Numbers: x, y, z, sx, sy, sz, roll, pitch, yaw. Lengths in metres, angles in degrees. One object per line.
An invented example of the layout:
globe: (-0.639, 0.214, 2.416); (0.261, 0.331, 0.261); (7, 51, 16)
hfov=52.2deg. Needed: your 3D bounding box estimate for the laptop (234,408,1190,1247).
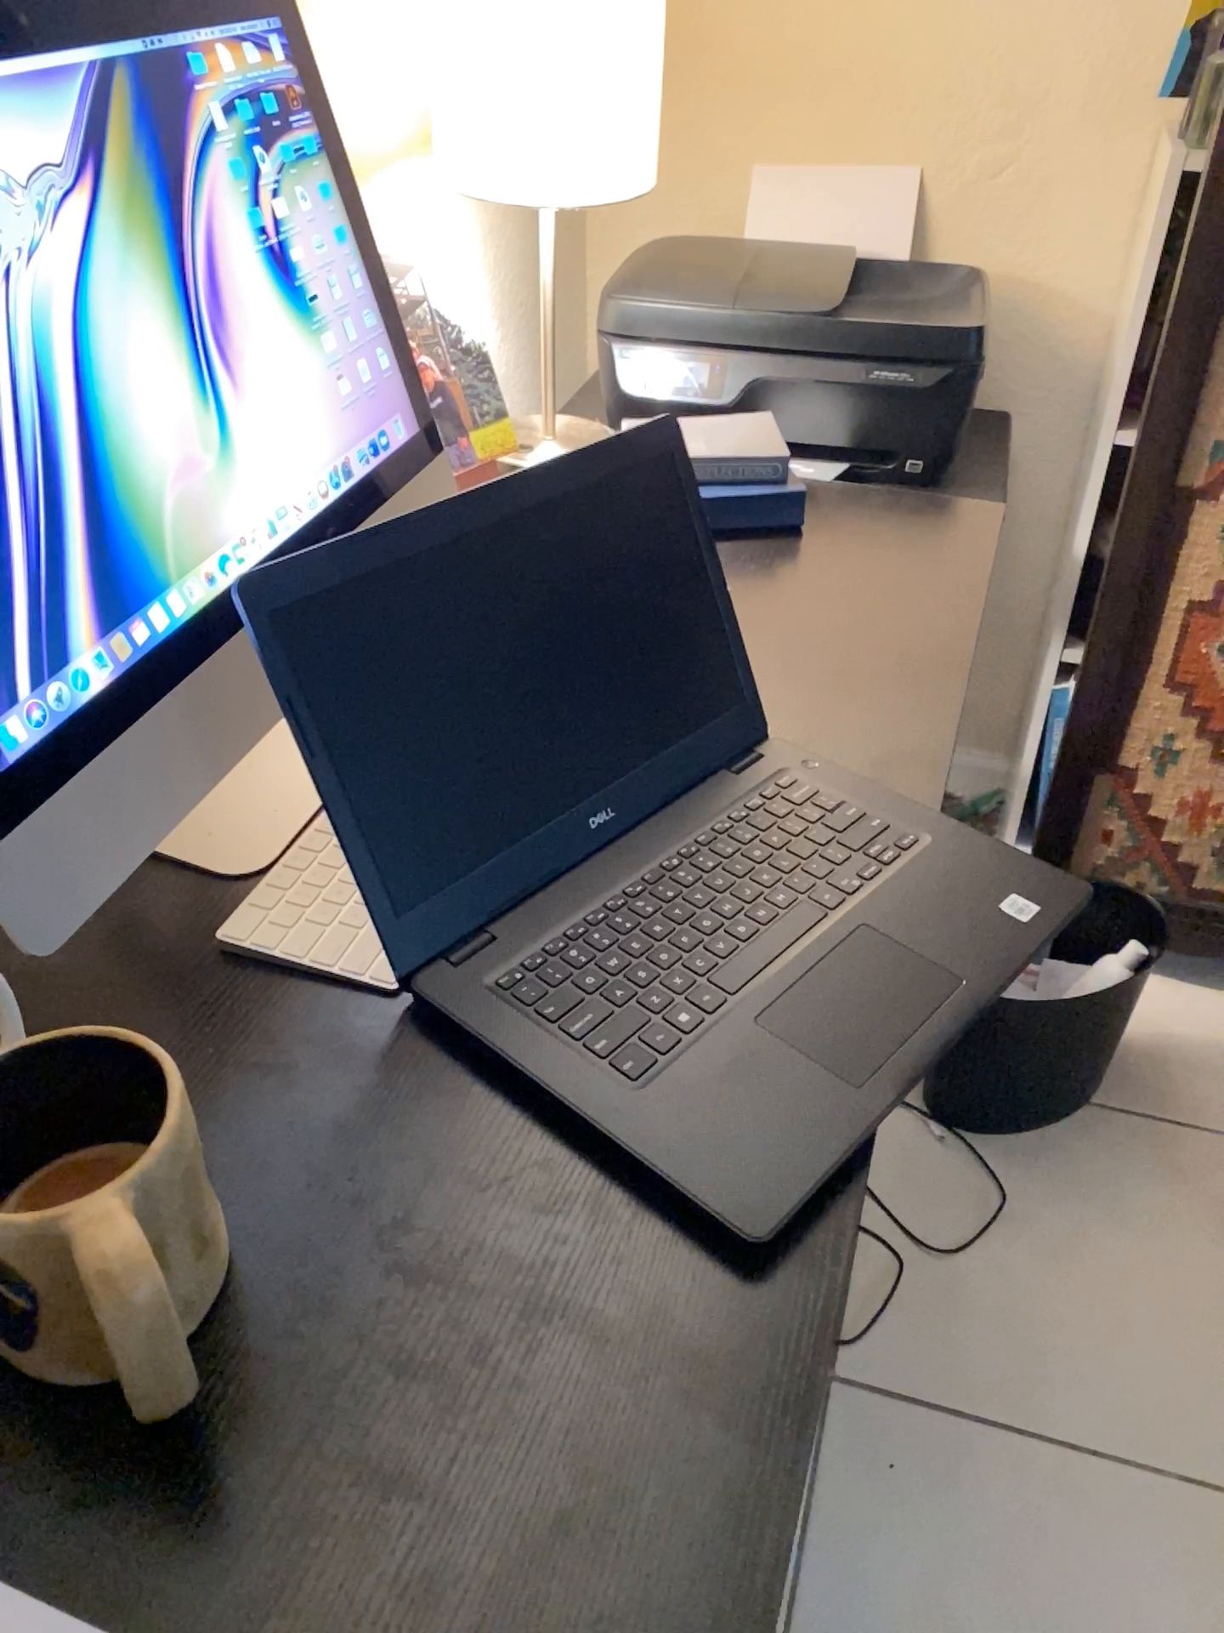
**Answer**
laptop: (0.053, -0.038, 0.688); (0.343, 0.206, 0.337); (29, 46, 32)
